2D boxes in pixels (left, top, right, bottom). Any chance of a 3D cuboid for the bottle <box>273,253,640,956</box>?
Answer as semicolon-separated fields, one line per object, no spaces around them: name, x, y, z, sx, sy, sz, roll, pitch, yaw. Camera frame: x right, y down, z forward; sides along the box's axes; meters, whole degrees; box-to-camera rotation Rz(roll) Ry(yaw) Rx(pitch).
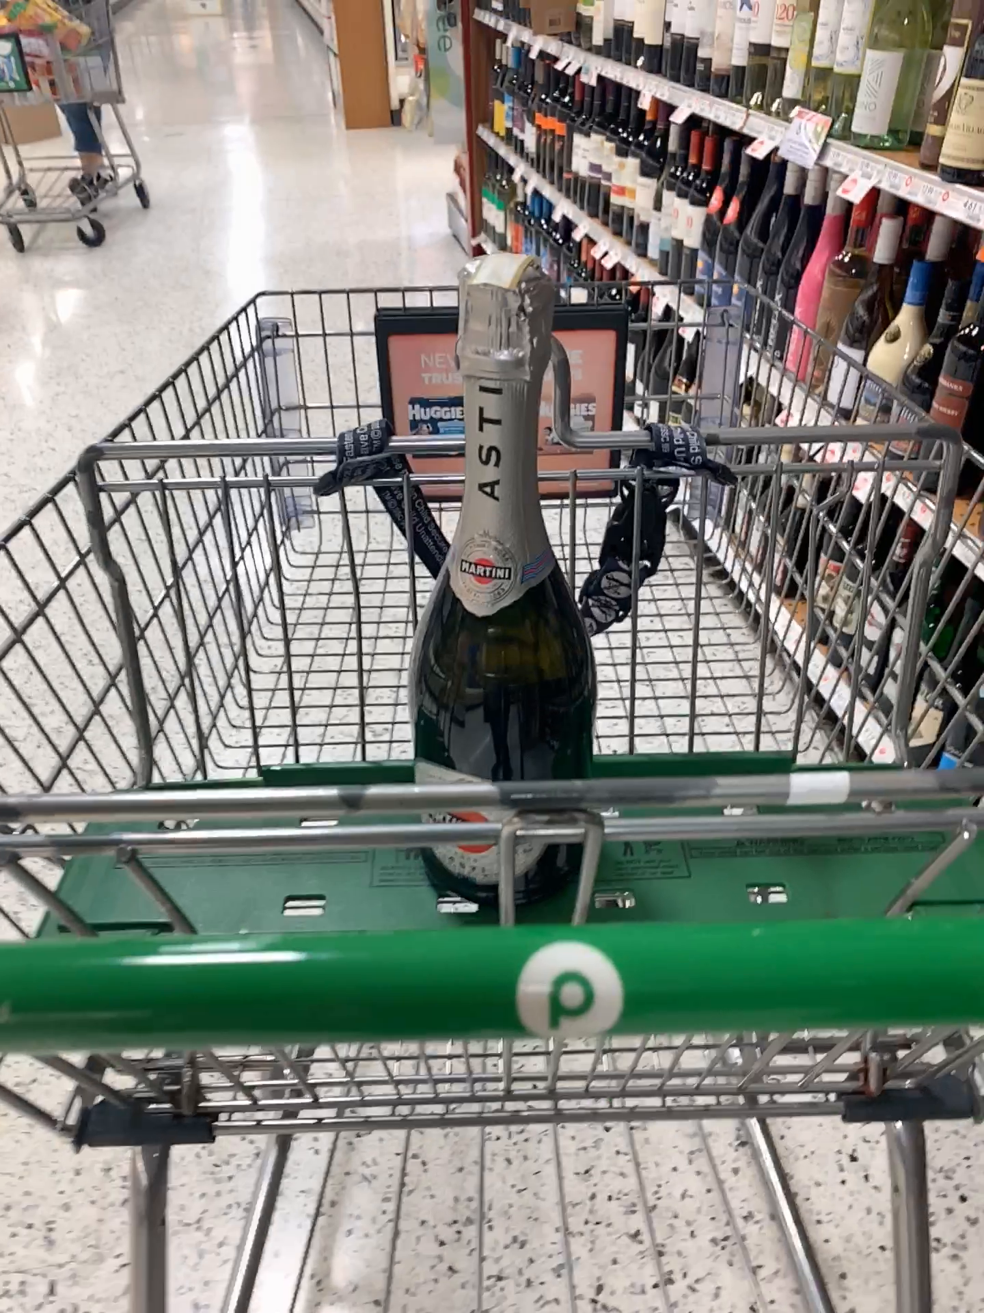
bottle;-0.006;-0.013;0.450;0.100;0.287;0.101;-1;36;1
